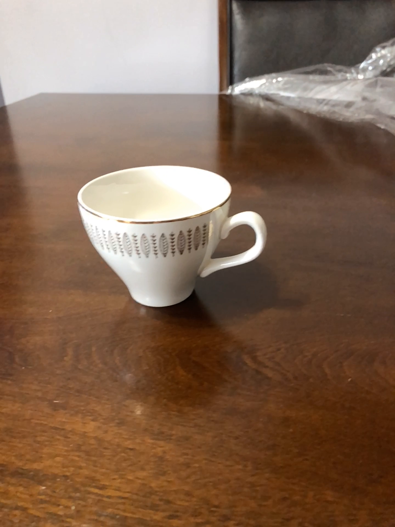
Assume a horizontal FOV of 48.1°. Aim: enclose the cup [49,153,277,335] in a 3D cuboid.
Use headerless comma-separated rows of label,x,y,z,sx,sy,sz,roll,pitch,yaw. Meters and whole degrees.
cup,-0.011,-0.018,0.253,0.100,0.060,0.090,6,31,12
